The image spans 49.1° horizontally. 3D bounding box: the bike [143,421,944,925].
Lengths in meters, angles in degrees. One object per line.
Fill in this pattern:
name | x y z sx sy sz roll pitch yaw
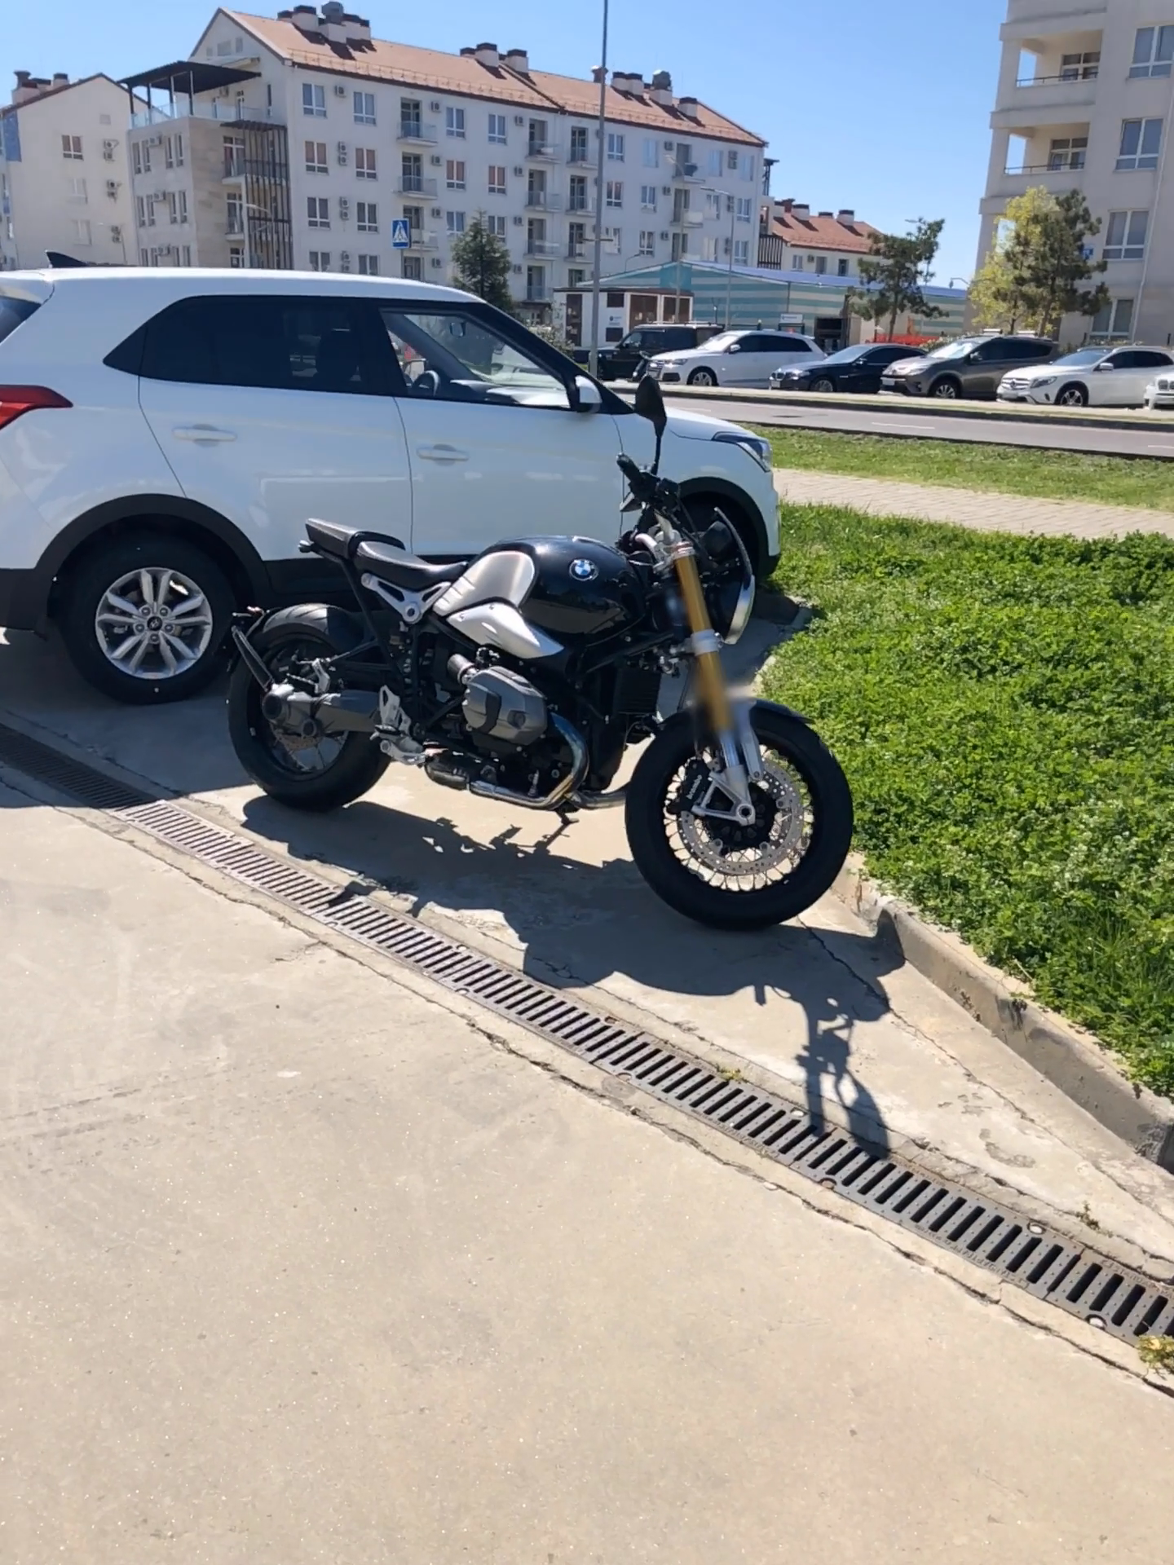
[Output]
bike | -0.146 -0.400 3.411 1.834 1.013 0.779 10 19 25
